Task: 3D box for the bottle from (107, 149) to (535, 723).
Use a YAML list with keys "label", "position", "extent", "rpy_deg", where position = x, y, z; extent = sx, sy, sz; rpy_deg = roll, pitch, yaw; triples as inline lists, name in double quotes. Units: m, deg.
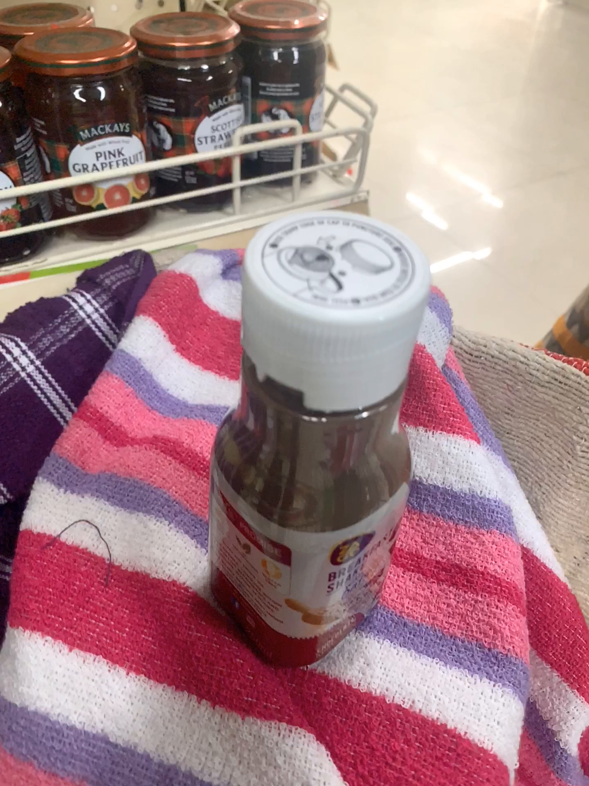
- label: "bottle"
  position: [0.003, 0.021, 0.160]
  extent: [0.060, 0.139, 0.050]
  rpy_deg: [-32, 54, -30]
